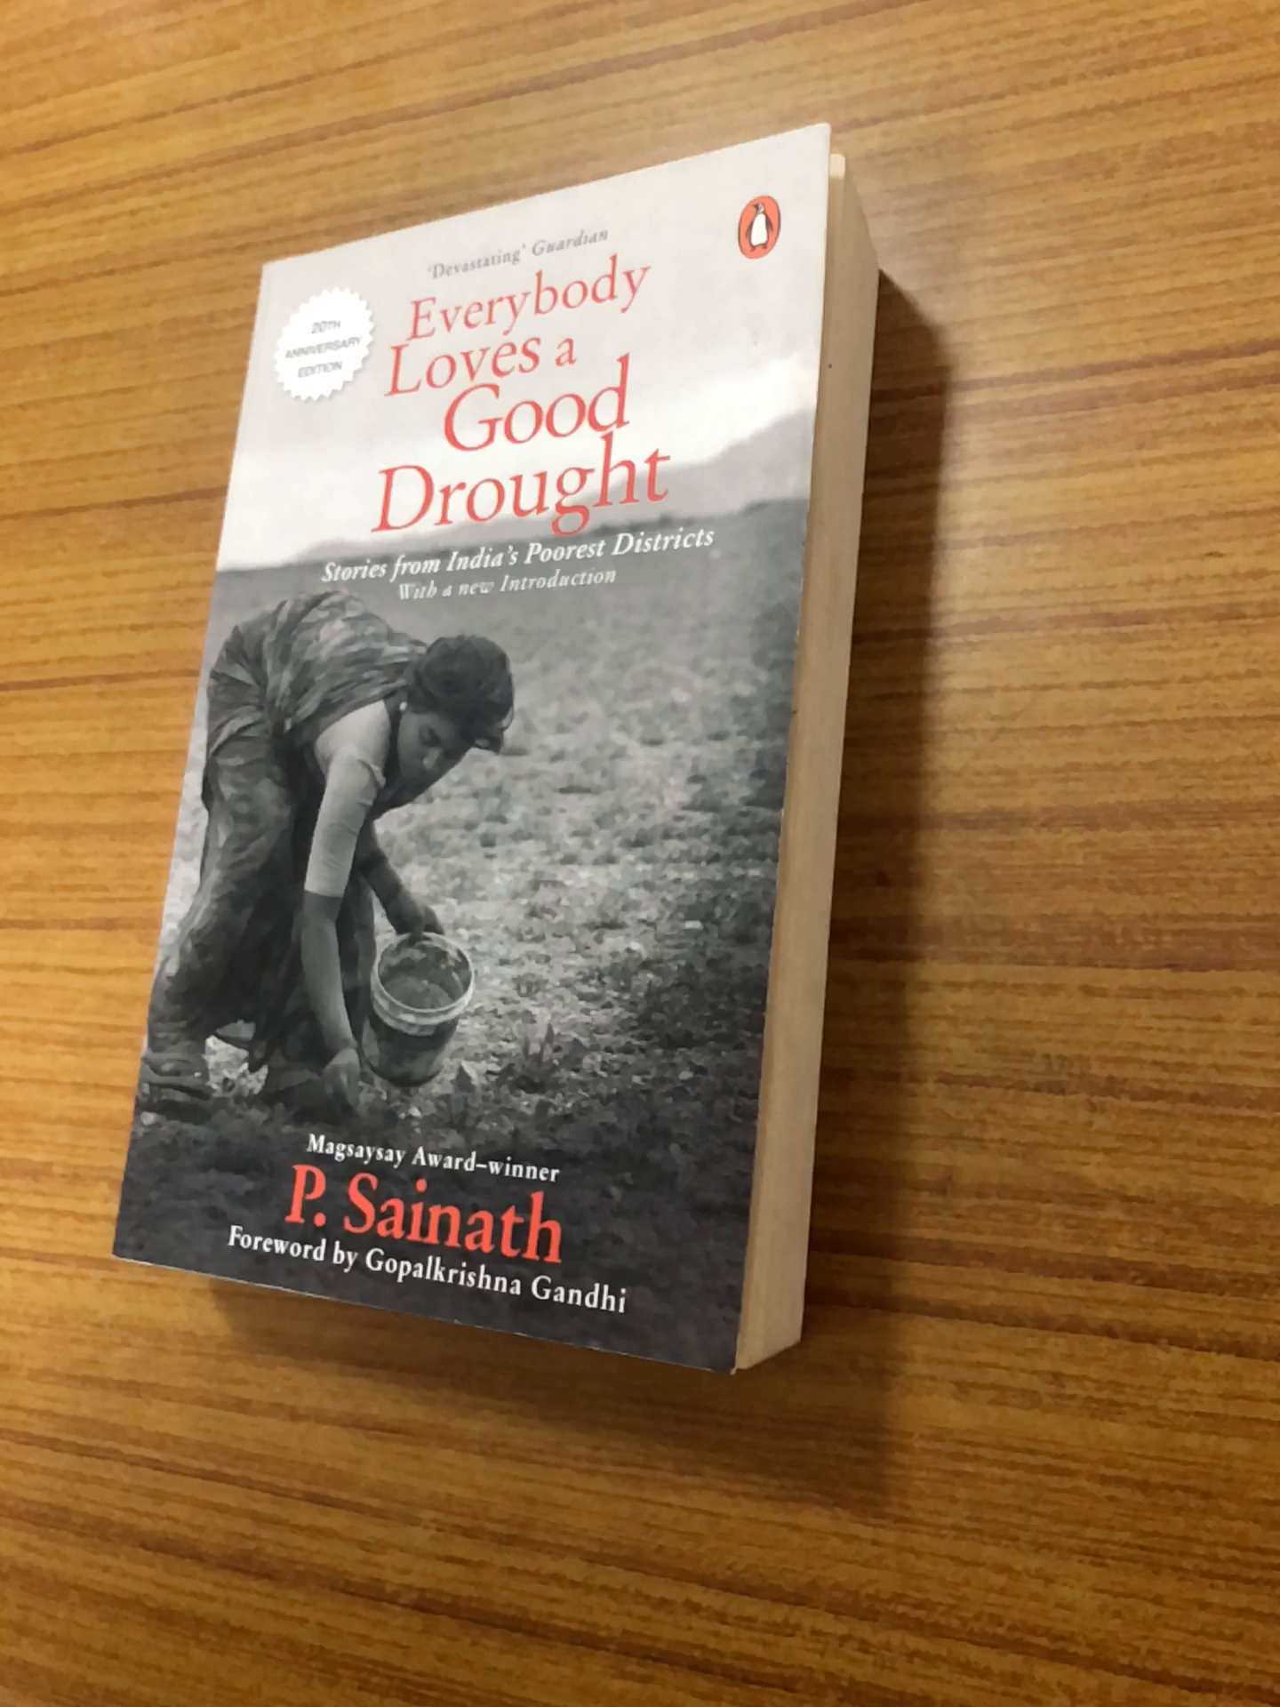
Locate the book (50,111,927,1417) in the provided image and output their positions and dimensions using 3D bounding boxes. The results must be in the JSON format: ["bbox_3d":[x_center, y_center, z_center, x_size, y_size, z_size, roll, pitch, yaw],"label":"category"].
[{"bbox_3d":[-0.027,-0.020,0.271,0.140,0.040,0.210,2,80,24],"label":"book"}]
